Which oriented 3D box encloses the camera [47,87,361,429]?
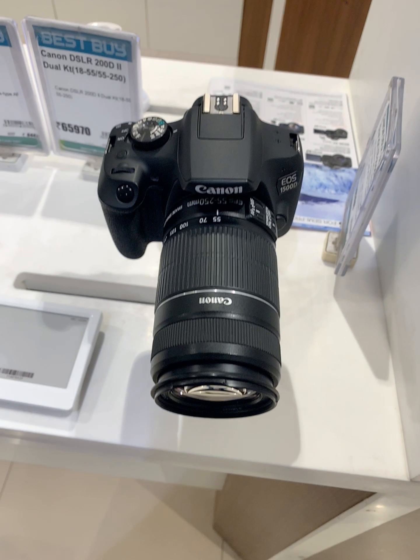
[{"bbox_3d":[-0.004,-0.012,0.242,0.117,0.090,0.164,1,61,-3],"label":"camera"}]
